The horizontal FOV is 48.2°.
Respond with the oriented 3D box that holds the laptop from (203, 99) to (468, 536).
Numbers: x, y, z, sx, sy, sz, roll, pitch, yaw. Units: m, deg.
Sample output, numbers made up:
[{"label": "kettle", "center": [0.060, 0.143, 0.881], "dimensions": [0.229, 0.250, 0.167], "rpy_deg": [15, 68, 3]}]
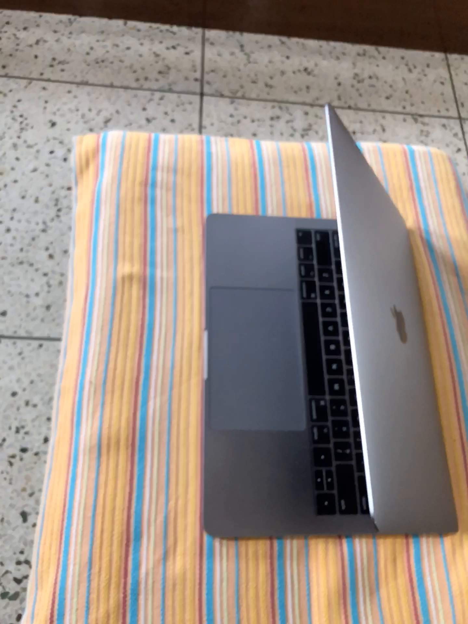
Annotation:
[{"label": "laptop", "center": [0.085, 0.013, 0.410], "dimensions": [0.203, 0.160, 0.295], "rpy_deg": [2, 66, -6]}]
